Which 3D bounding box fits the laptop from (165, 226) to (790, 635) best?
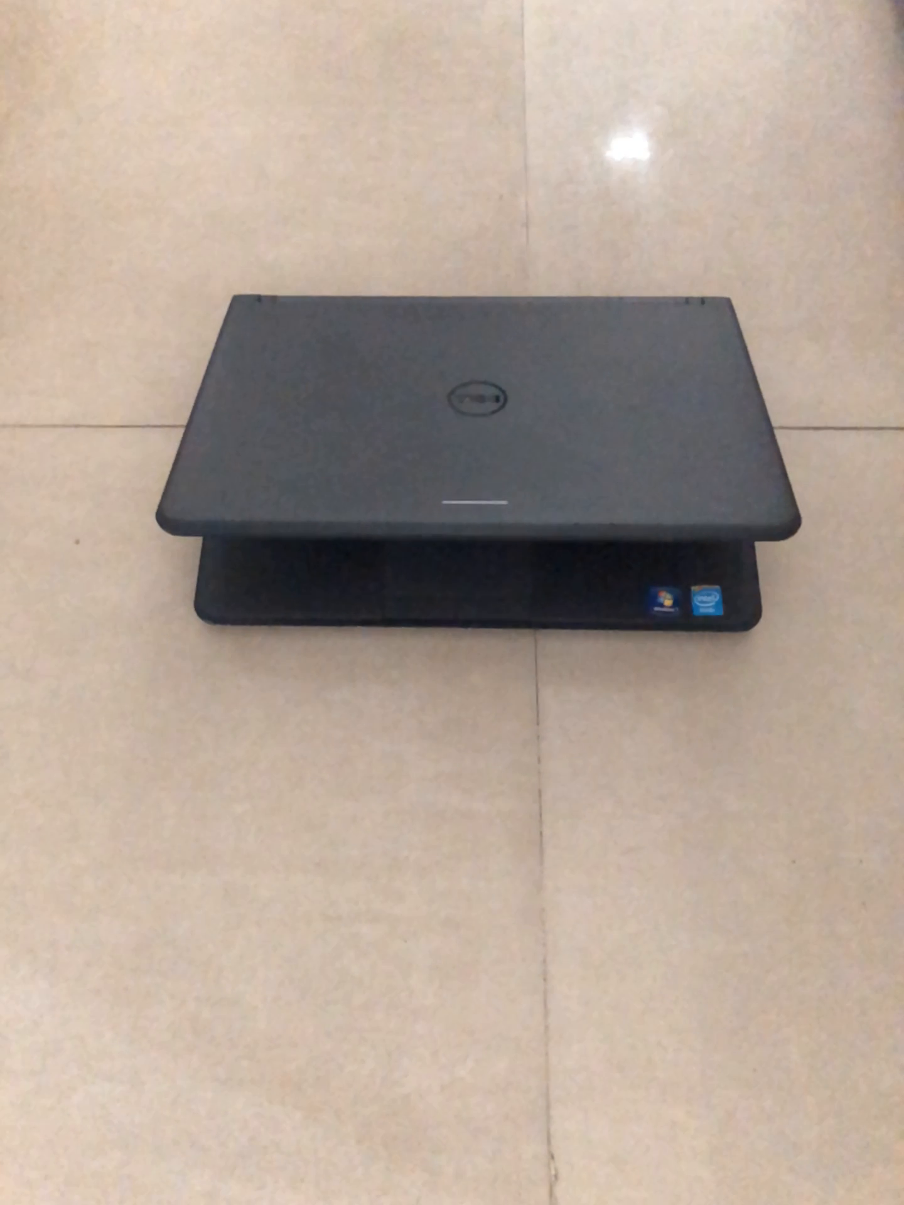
[{"bbox_3d":[0.015,-0.101,0.569,0.314,0.064,0.221,1,68,3],"label":"laptop"}]
